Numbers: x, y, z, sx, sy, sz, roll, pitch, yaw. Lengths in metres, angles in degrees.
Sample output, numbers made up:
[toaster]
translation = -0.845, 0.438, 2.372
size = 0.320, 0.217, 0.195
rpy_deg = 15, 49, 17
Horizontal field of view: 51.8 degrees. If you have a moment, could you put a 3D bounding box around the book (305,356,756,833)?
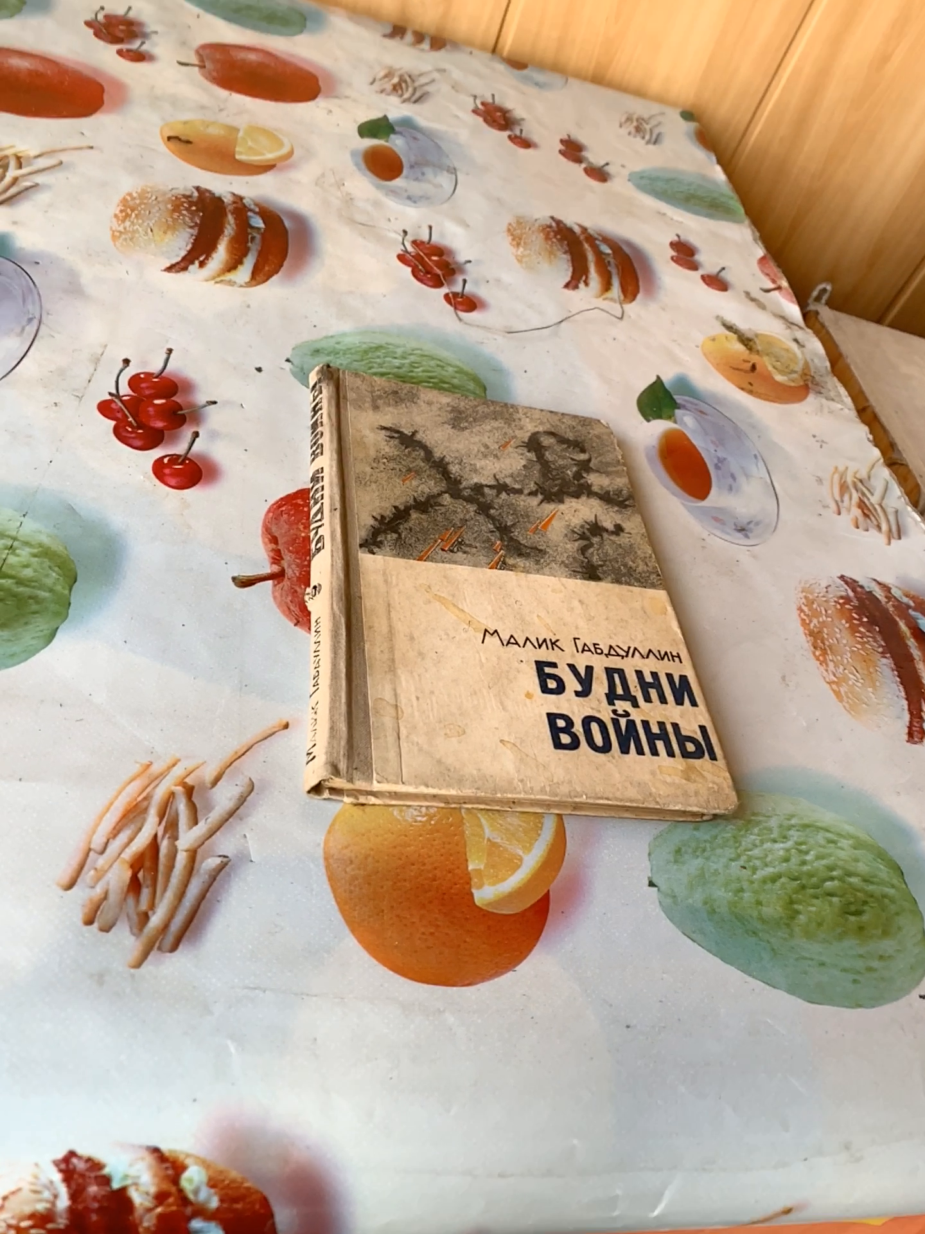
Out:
[book]
translation = 0.013, -0.018, 0.345
size = 0.136, 0.018, 0.197
rpy_deg = 8, 46, -17
